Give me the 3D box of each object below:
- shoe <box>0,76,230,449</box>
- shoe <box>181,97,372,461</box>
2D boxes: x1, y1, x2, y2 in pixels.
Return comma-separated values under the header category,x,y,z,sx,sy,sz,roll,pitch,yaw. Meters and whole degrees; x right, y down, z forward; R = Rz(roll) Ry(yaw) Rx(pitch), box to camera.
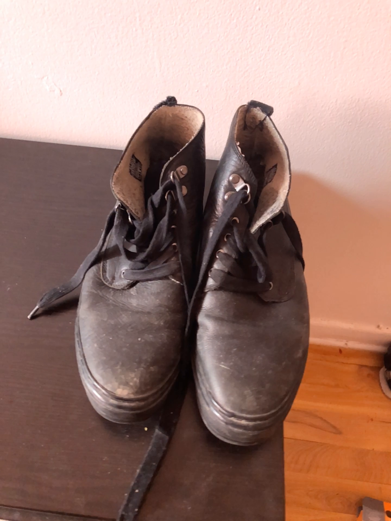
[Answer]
category,x,y,z,sx,sy,sz,roll,pitch,yaw
shoe,-0.046,-0.023,0.408,0.120,0.109,0.342,7,54,2
shoe,0.059,-0.005,0.418,0.120,0.109,0.342,4,54,0
